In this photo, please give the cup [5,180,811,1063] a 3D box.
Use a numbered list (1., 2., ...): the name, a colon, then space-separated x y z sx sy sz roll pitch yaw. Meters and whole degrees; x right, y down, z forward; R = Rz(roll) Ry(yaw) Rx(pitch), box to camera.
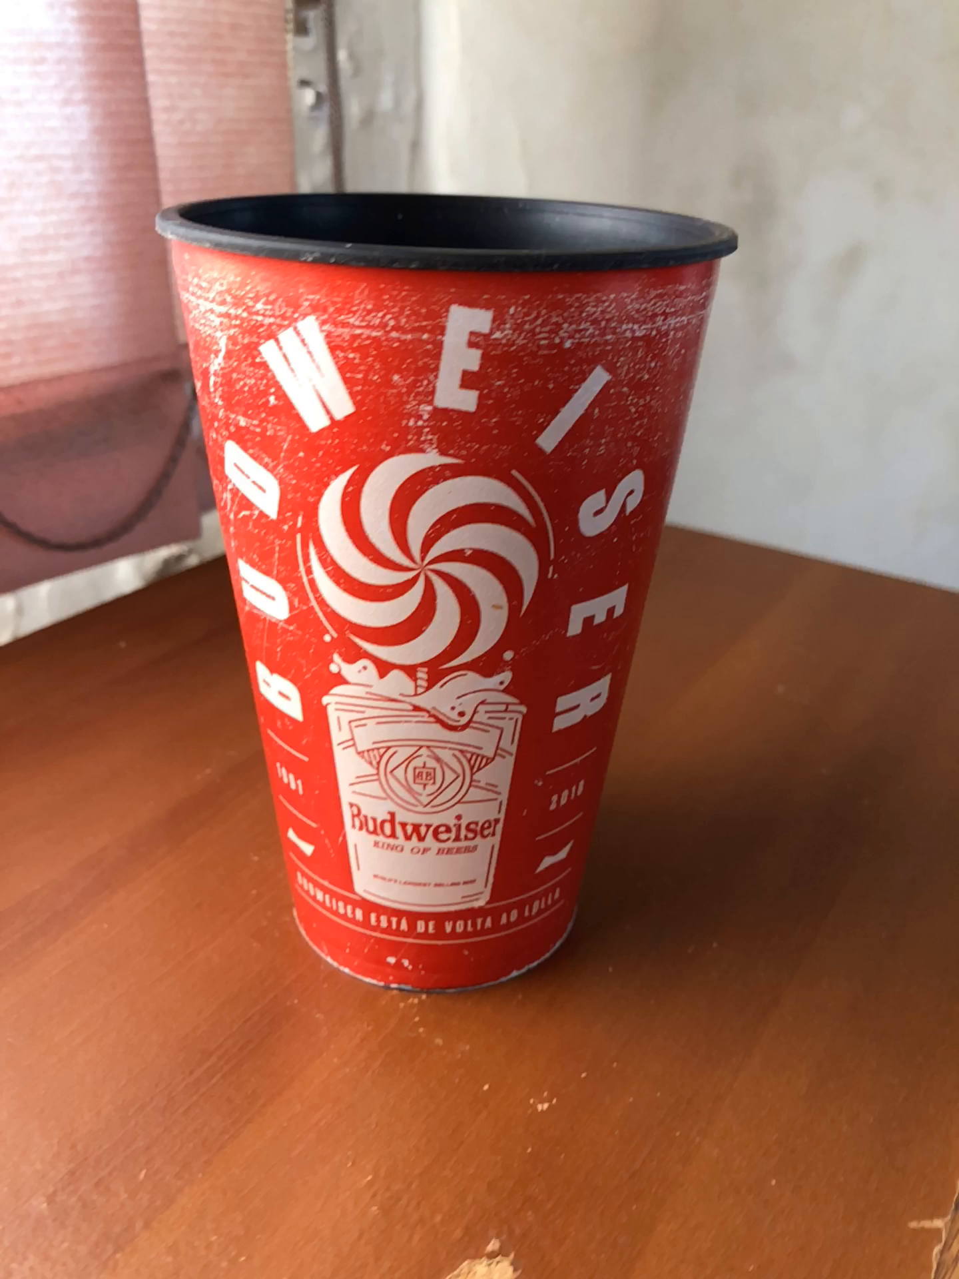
1. cup: -0.010 -0.008 0.205 0.100 0.139 0.091 -2 27 -2
